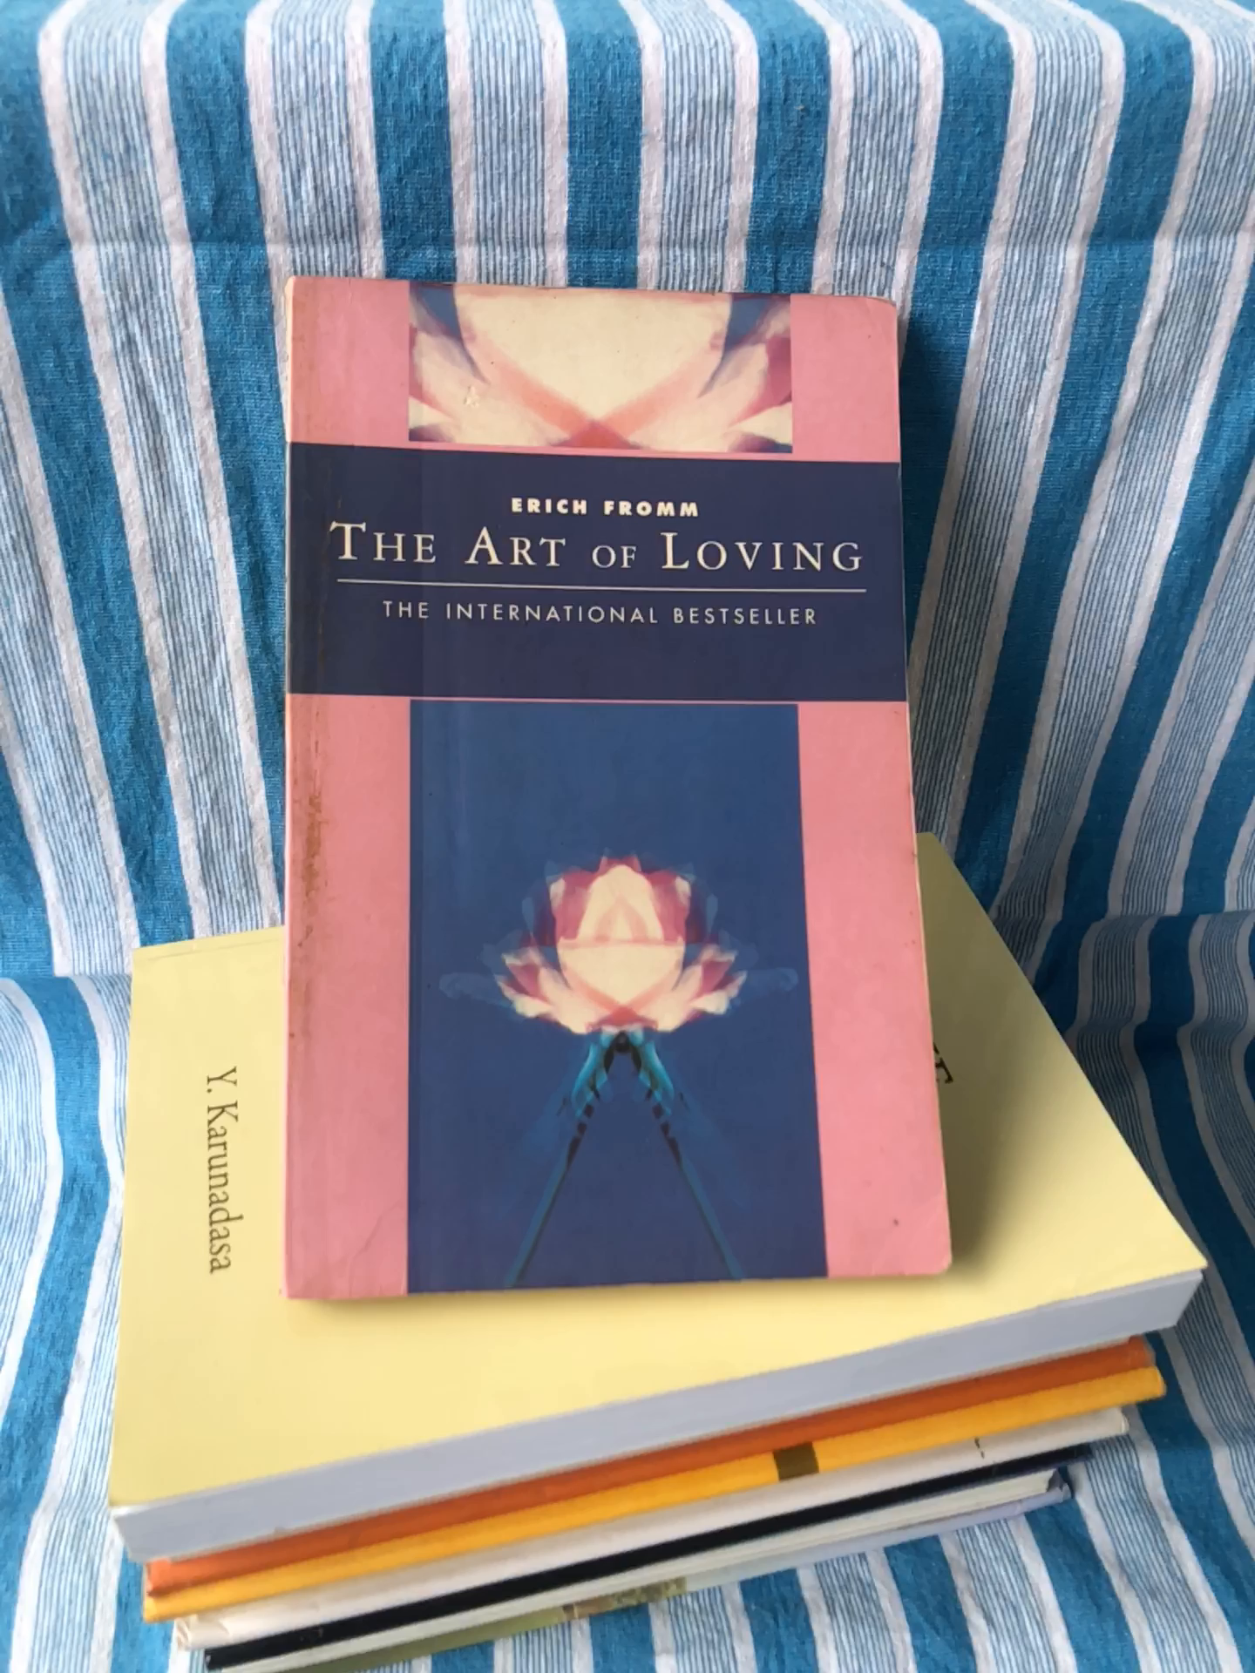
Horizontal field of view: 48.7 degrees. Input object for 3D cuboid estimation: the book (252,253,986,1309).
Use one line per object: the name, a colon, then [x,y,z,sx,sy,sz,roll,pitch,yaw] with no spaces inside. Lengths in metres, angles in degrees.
book: [-0.003,-0.015,0.262,0.129,0.015,0.193,-1,84,-4]
